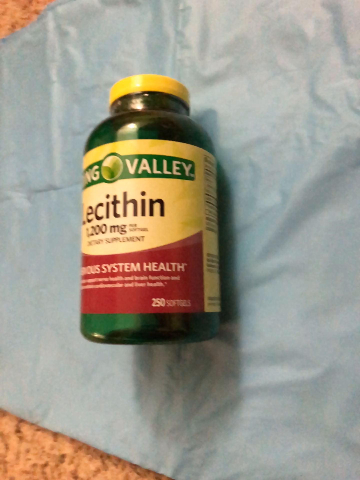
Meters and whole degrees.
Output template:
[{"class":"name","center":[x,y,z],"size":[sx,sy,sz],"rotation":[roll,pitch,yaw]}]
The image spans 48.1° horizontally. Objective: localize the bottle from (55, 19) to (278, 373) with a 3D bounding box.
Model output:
[{"class":"bottle","center":[-0.007,-0.016,0.254],"size":[0.101,0.090,0.170],"rotation":[-6,80,35]}]
